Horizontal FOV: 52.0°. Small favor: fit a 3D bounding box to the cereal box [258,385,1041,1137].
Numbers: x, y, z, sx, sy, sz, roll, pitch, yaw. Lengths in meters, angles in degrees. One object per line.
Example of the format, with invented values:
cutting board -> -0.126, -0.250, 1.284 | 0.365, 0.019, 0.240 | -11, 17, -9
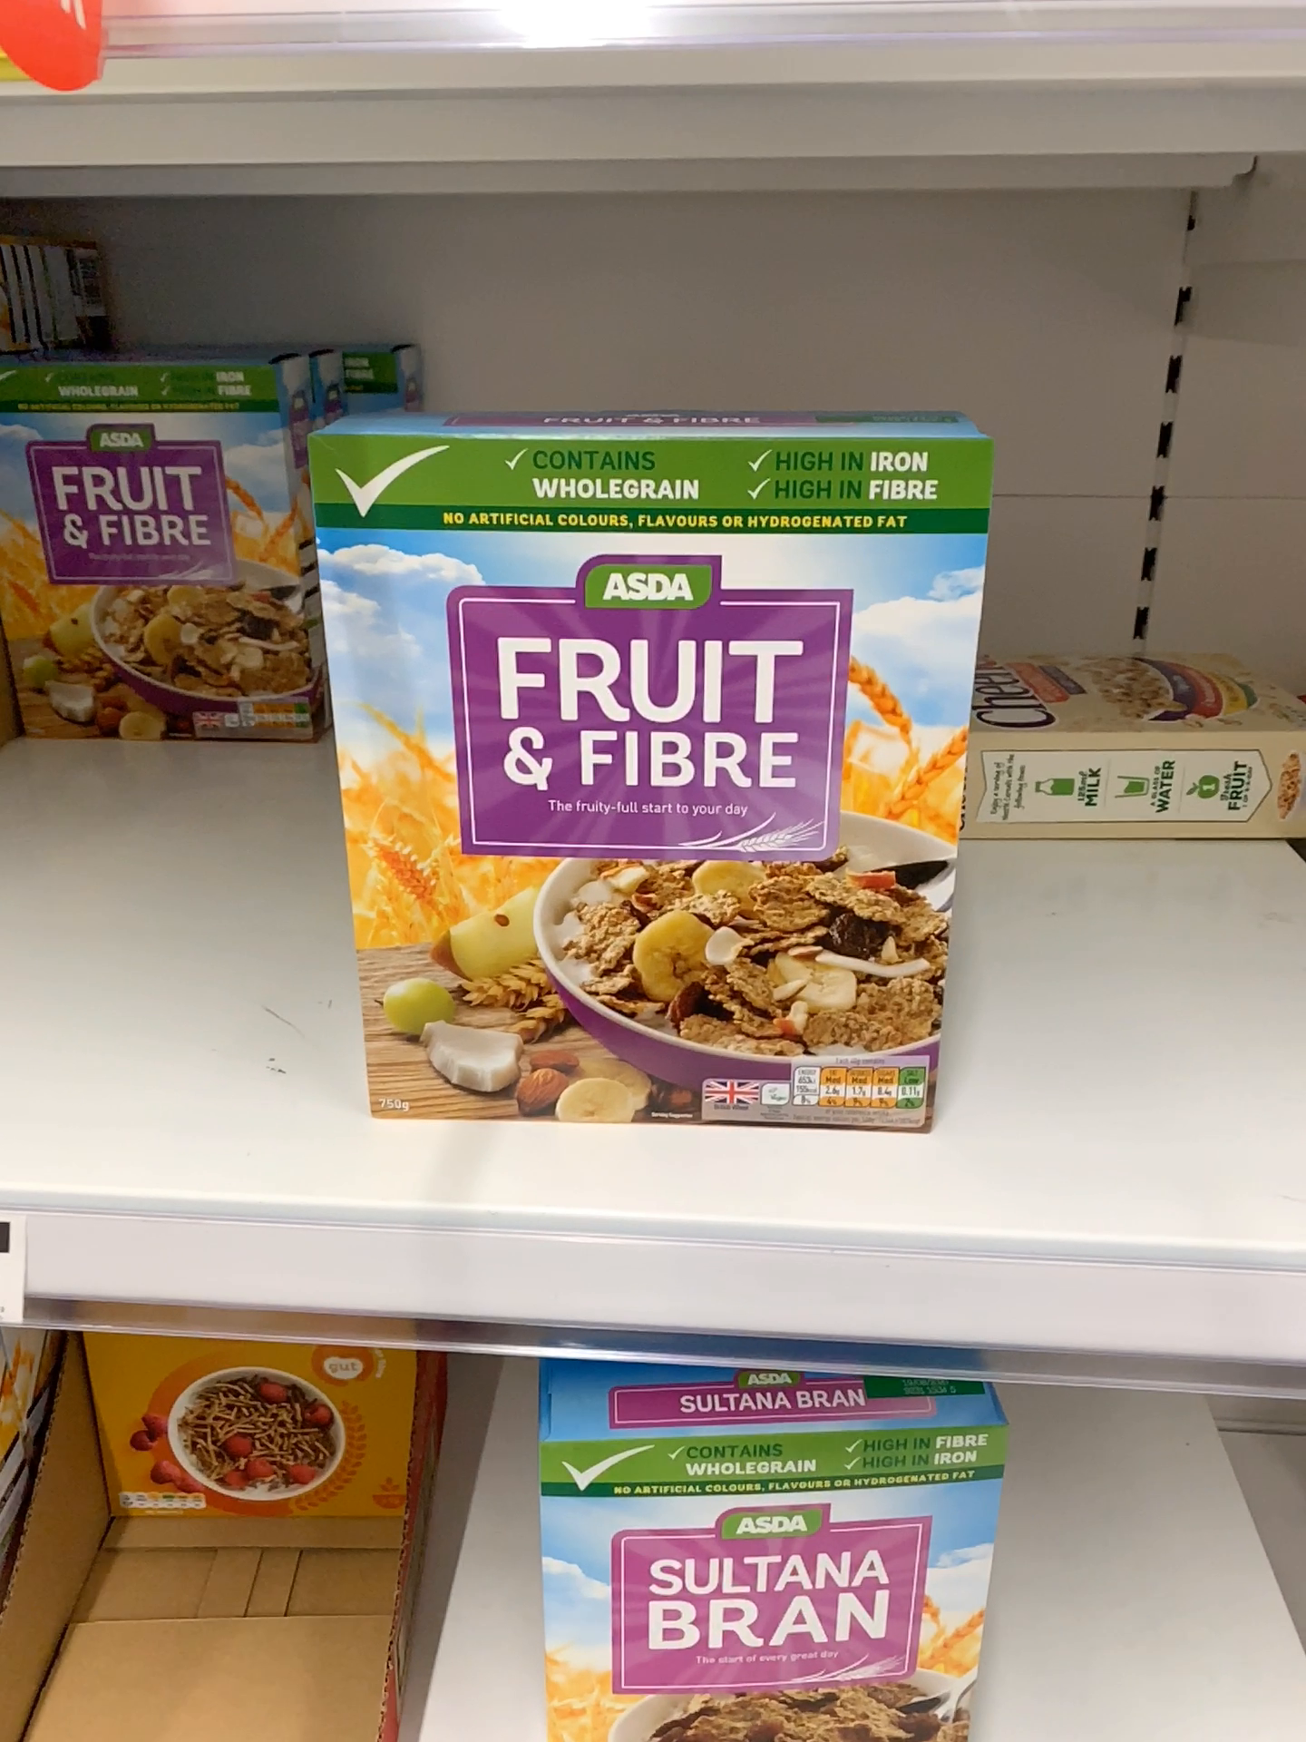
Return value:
cereal box -> 0.001, -0.039, 0.493 | 0.240, 0.258, 0.081 | 1, 21, 4
